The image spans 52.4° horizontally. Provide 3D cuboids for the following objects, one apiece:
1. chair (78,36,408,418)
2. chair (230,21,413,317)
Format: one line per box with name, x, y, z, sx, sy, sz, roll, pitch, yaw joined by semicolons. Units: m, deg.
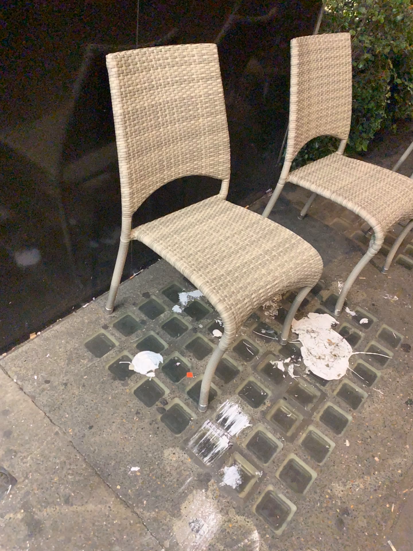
chair;0.024;-0.141;1.255;0.483;0.832;0.613;-29;57;-34
chair;0.550;-0.452;1.707;0.583;0.901;0.603;-28;48;-33
